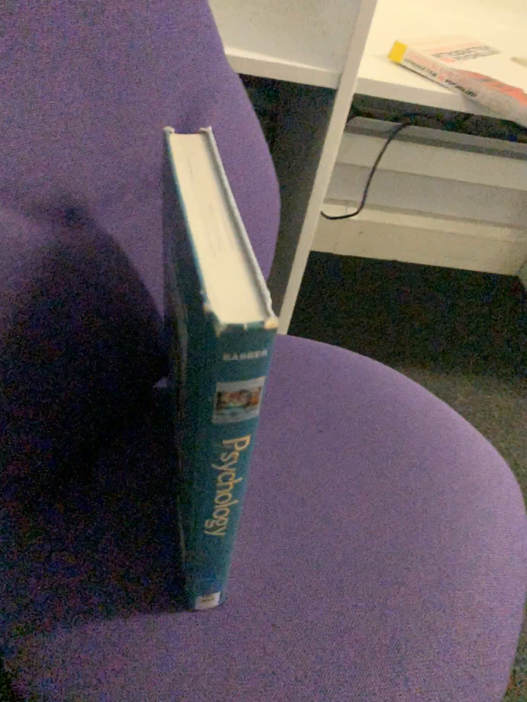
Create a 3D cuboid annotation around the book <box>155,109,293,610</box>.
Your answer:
[{"bbox_3d":[-0.053,0.012,0.408,0.040,0.287,0.244,-3,45,-14],"label":"book"}]
